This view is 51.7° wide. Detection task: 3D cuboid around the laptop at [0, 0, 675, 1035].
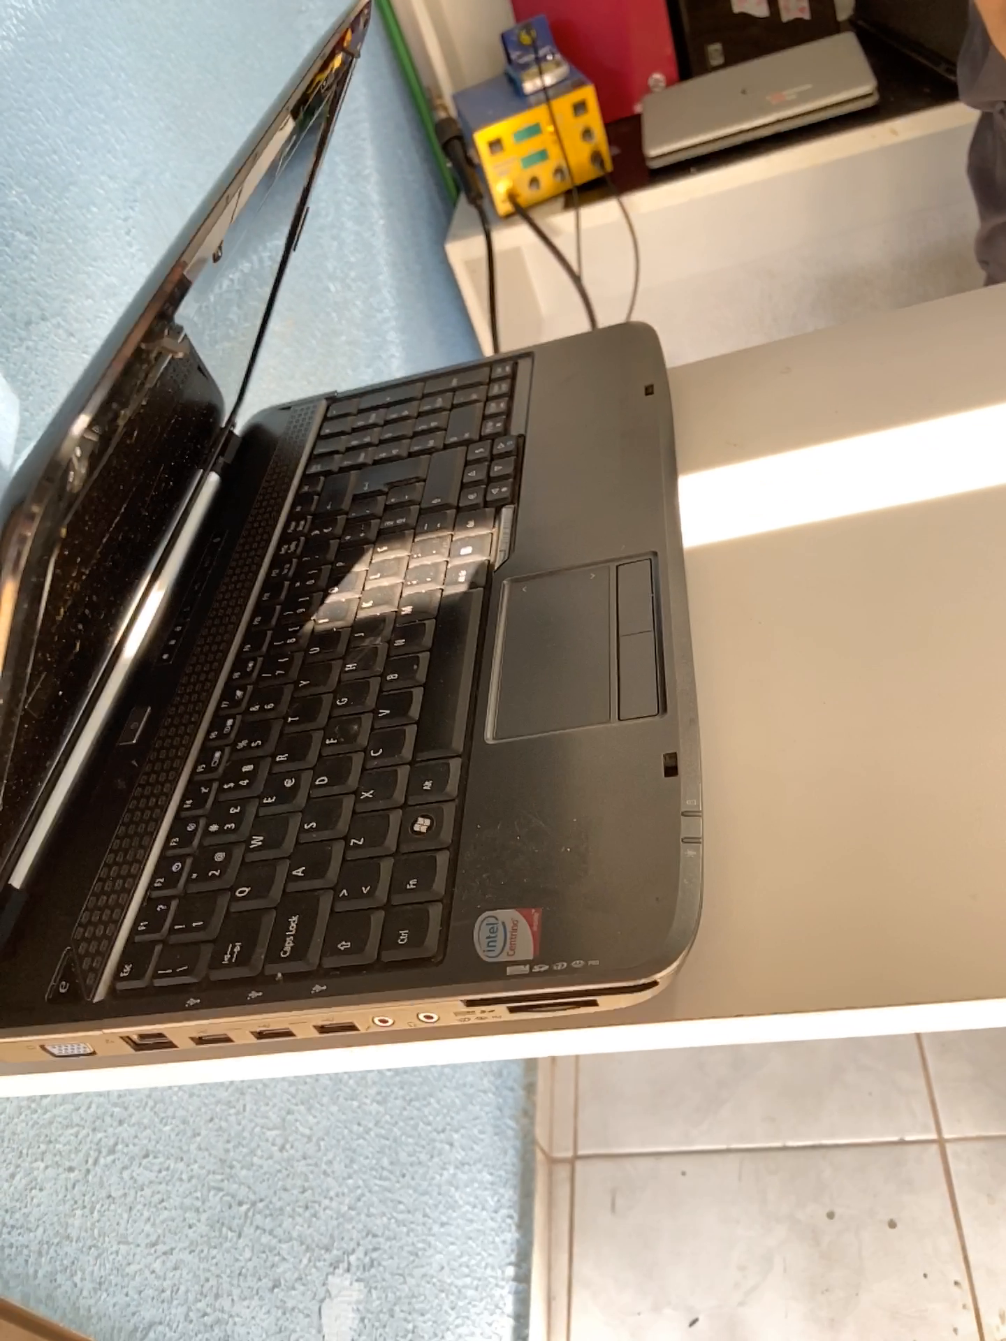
[{"bbox_3d":[-0.085,-0.092,0.388,0.235,0.174,0.380,-12,41,15],"label":"laptop"}]
